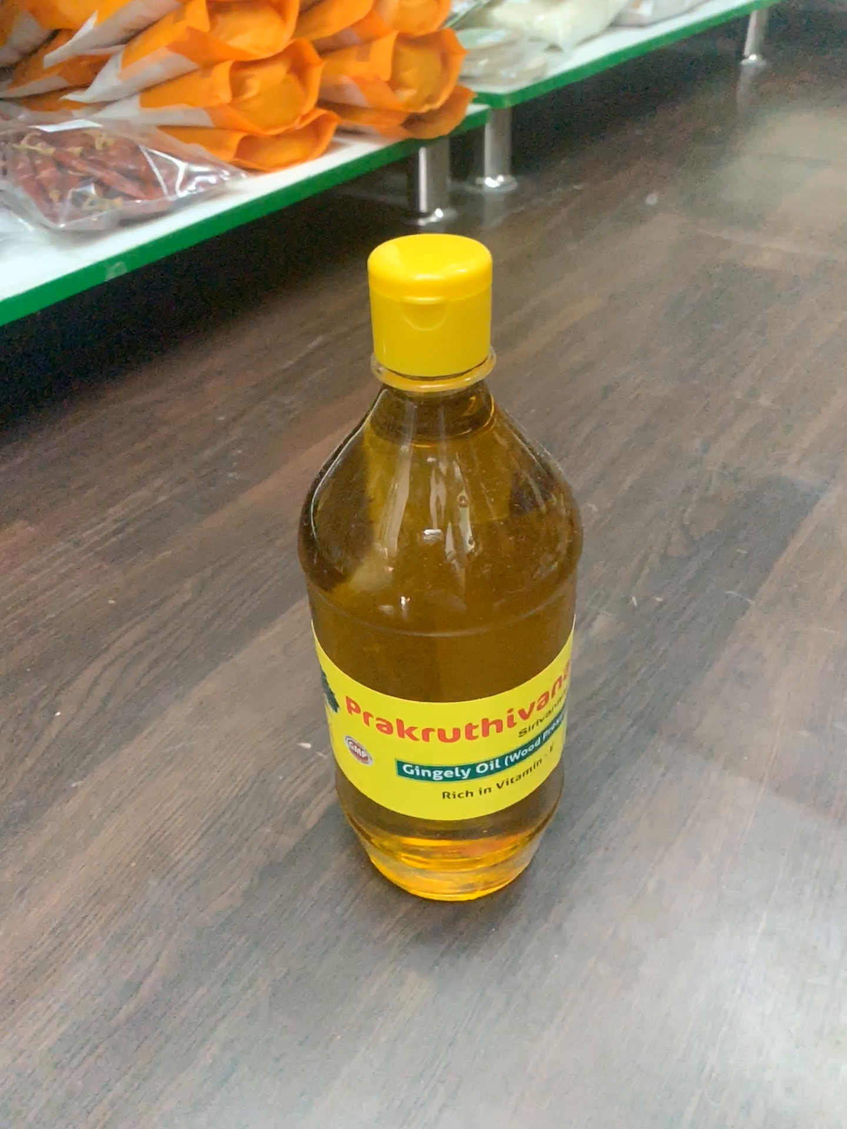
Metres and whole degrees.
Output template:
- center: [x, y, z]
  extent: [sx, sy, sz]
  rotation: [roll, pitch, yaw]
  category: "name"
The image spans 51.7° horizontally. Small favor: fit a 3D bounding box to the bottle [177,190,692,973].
- center: [0.003, 0.015, 0.278]
  extent: [0.090, 0.219, 0.090]
  rotation: [-2, 39, 2]
  category: "bottle"
